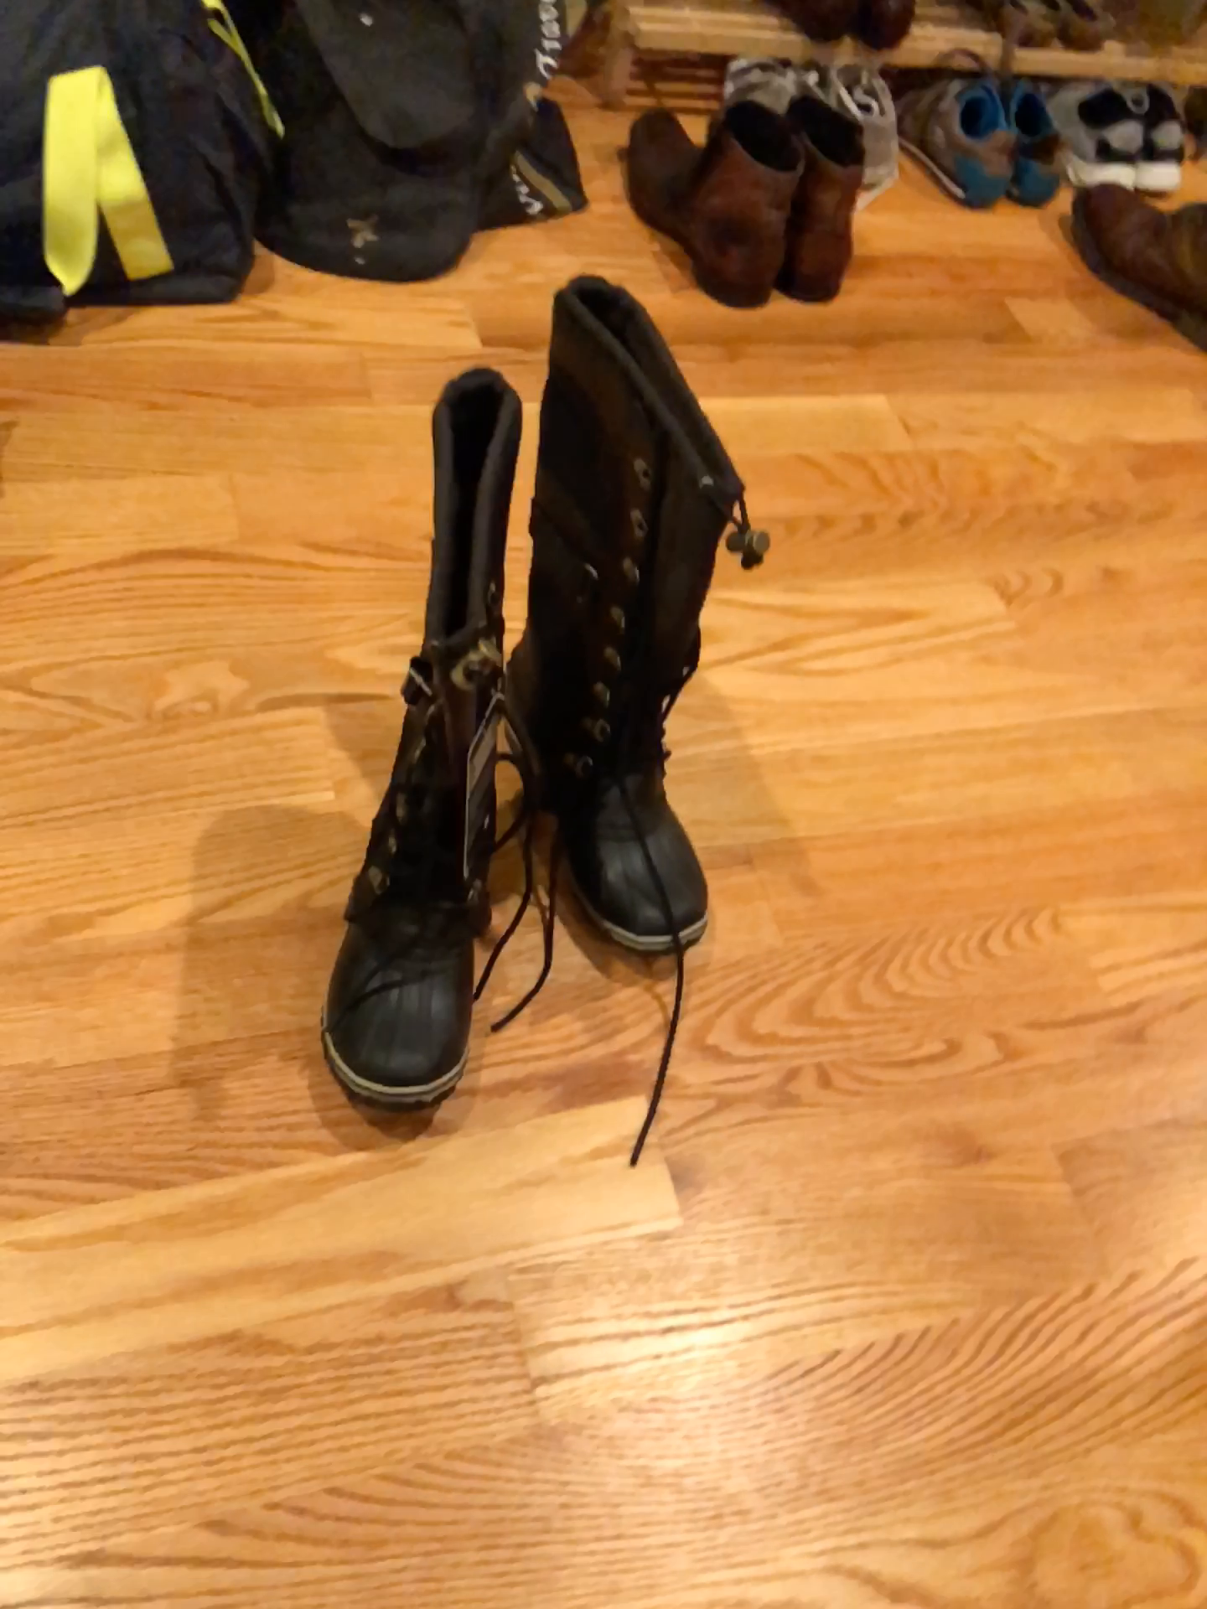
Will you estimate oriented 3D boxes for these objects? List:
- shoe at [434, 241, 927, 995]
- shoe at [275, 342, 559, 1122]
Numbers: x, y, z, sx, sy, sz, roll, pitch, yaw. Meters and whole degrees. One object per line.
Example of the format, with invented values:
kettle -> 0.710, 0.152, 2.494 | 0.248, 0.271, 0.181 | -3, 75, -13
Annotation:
shoe -> 0.013, -0.094, 0.759 | 0.100, 0.328, 0.261 | -17, 59, -24
shoe -> -0.099, -0.024, 0.691 | 0.100, 0.308, 0.261 | 6, 52, -8
